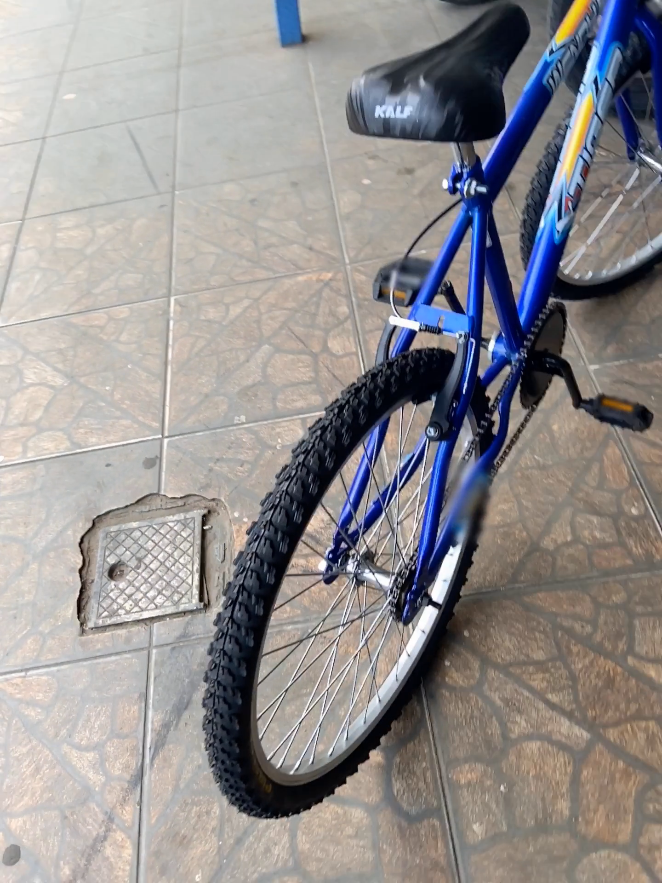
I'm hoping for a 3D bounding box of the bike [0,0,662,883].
[{"bbox_3d":[0.285,-0.265,0.854,0.623,0.924,1.491,29,65,24],"label":"bike"}]
